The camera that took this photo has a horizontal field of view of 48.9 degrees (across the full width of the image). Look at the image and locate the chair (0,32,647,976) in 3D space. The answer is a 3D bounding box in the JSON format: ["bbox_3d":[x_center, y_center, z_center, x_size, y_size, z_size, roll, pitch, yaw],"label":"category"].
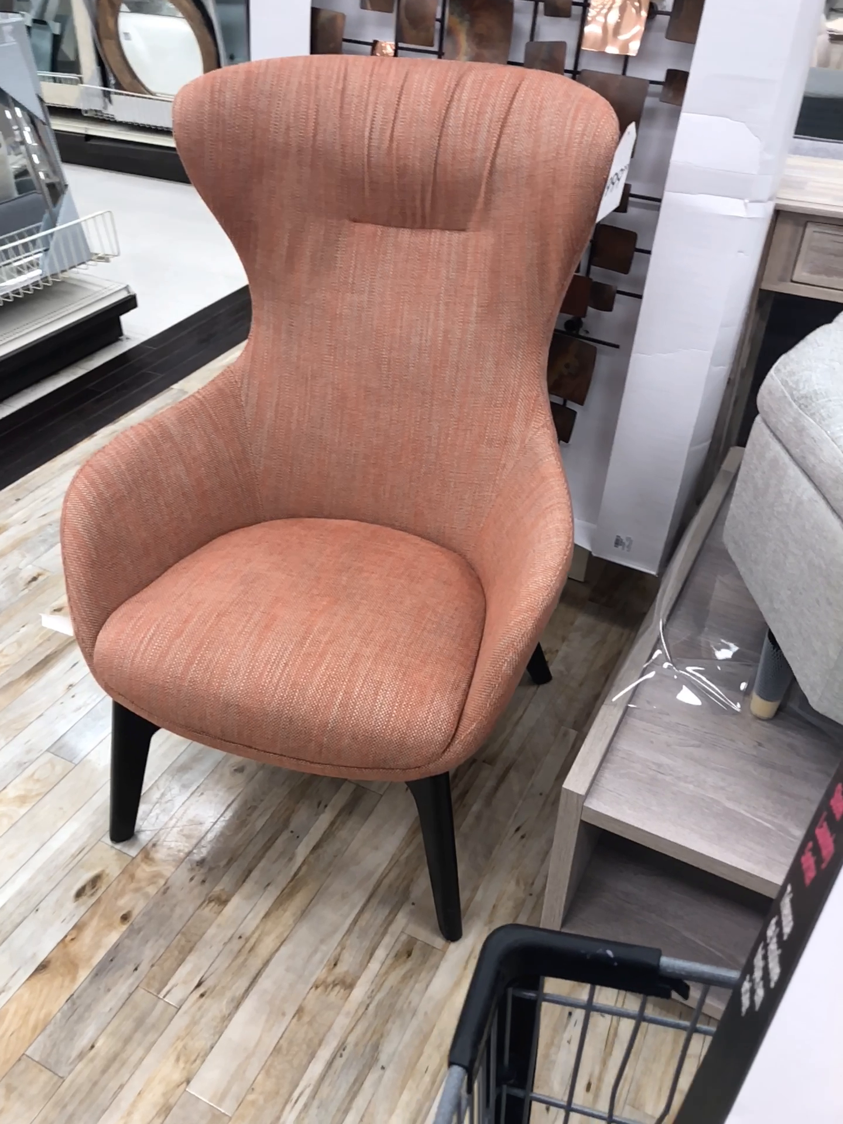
[{"bbox_3d":[-0.137,-0.116,1.377,0.690,1.065,0.753,11,37,13],"label":"chair"}]
